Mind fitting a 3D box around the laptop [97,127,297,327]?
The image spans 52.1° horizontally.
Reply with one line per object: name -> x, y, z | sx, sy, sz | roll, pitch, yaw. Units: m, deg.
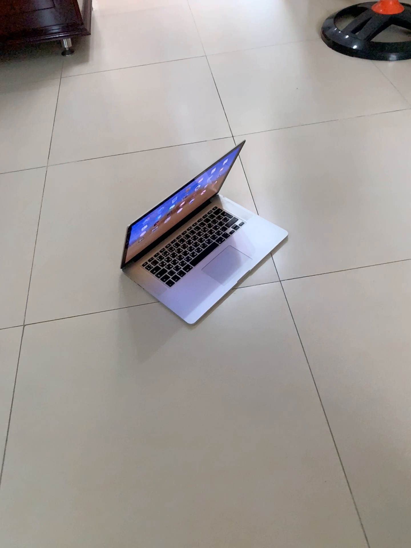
laptop -> -0.004, -0.121, 0.961 | 0.242, 0.207, 0.360 | 34, 62, 29
